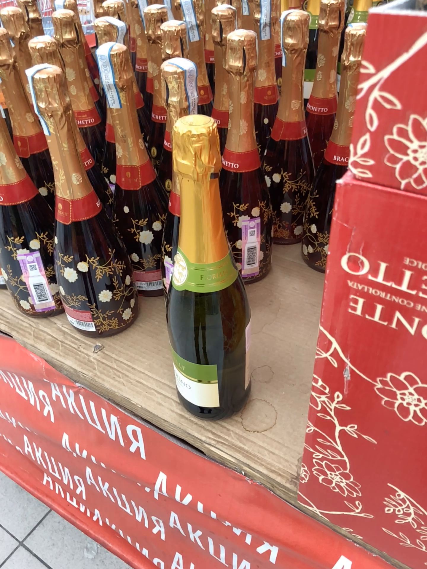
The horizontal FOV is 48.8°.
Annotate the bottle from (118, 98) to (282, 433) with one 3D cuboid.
[{"bbox_3d":[-0.006,-0.001,0.427,0.090,0.288,0.090,-2,39,2],"label":"bottle"}]
